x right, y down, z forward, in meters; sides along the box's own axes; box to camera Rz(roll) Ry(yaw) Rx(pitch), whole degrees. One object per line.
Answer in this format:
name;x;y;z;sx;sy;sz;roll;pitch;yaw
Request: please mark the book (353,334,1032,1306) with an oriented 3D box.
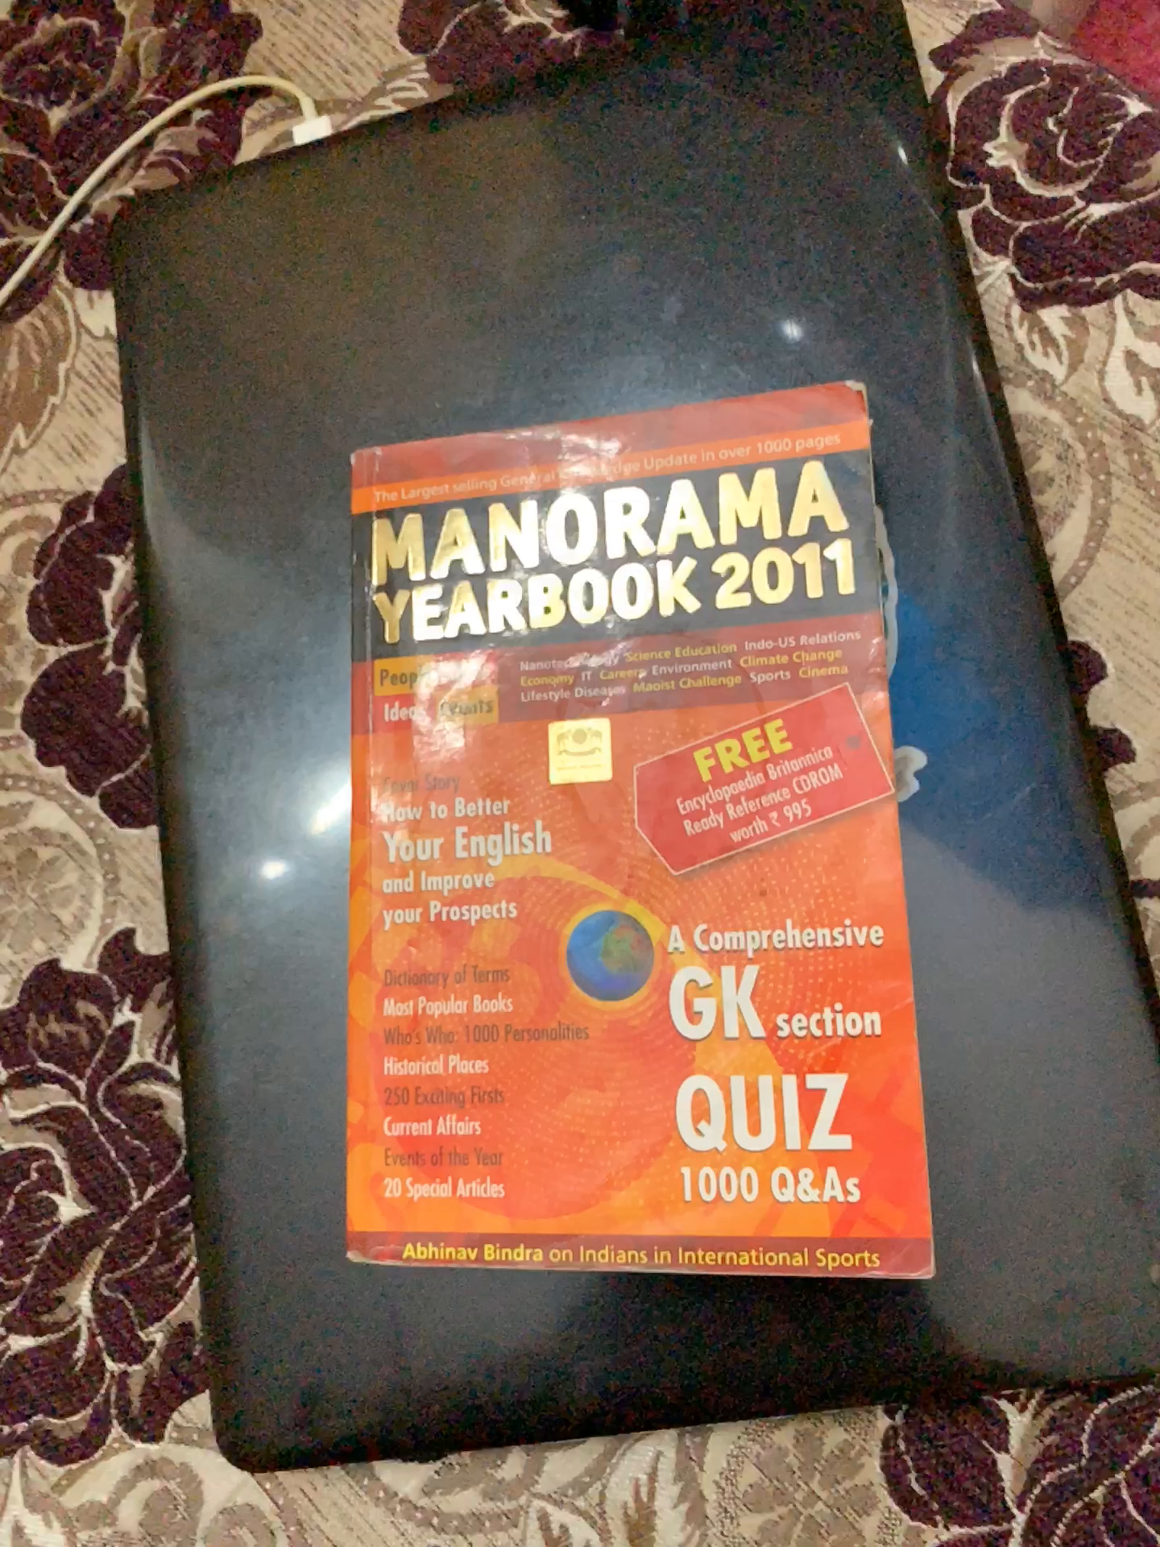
book;0.022;0.010;0.294;0.140;0.050;0.210;-3;78;10
